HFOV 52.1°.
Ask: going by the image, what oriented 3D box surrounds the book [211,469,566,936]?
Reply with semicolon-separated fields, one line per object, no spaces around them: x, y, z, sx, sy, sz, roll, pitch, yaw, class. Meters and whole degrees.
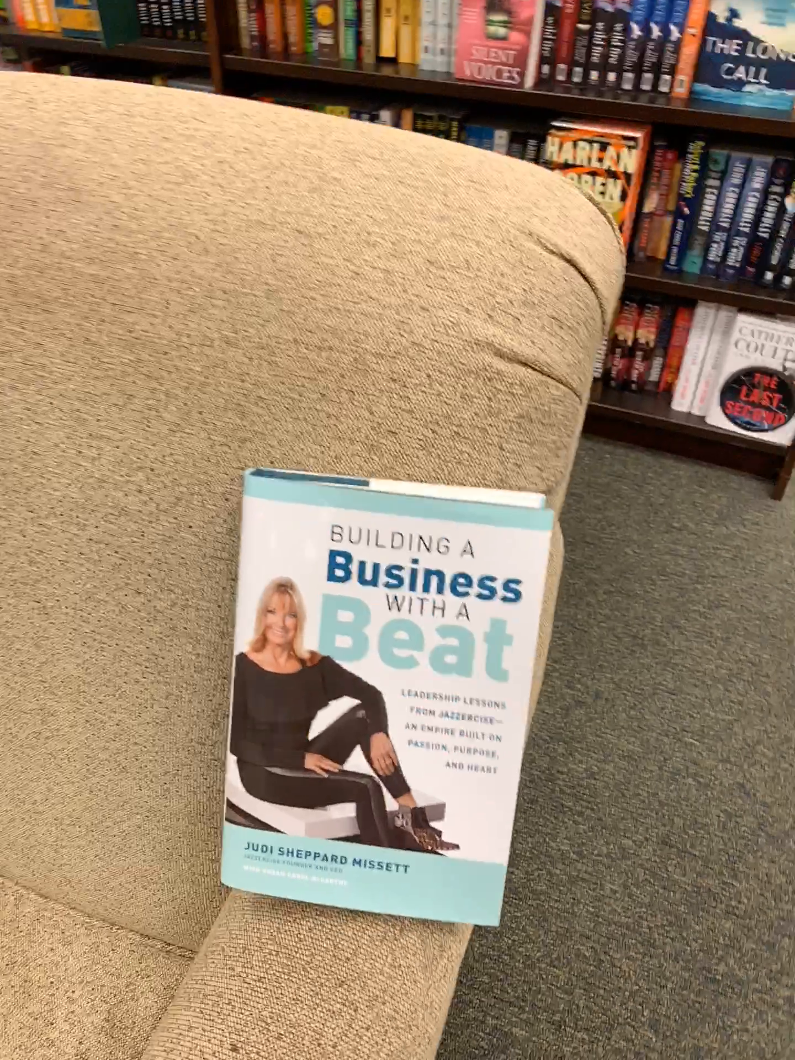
-0.009;0.091;0.436;0.170;0.230;0.040;5;12;7;book
